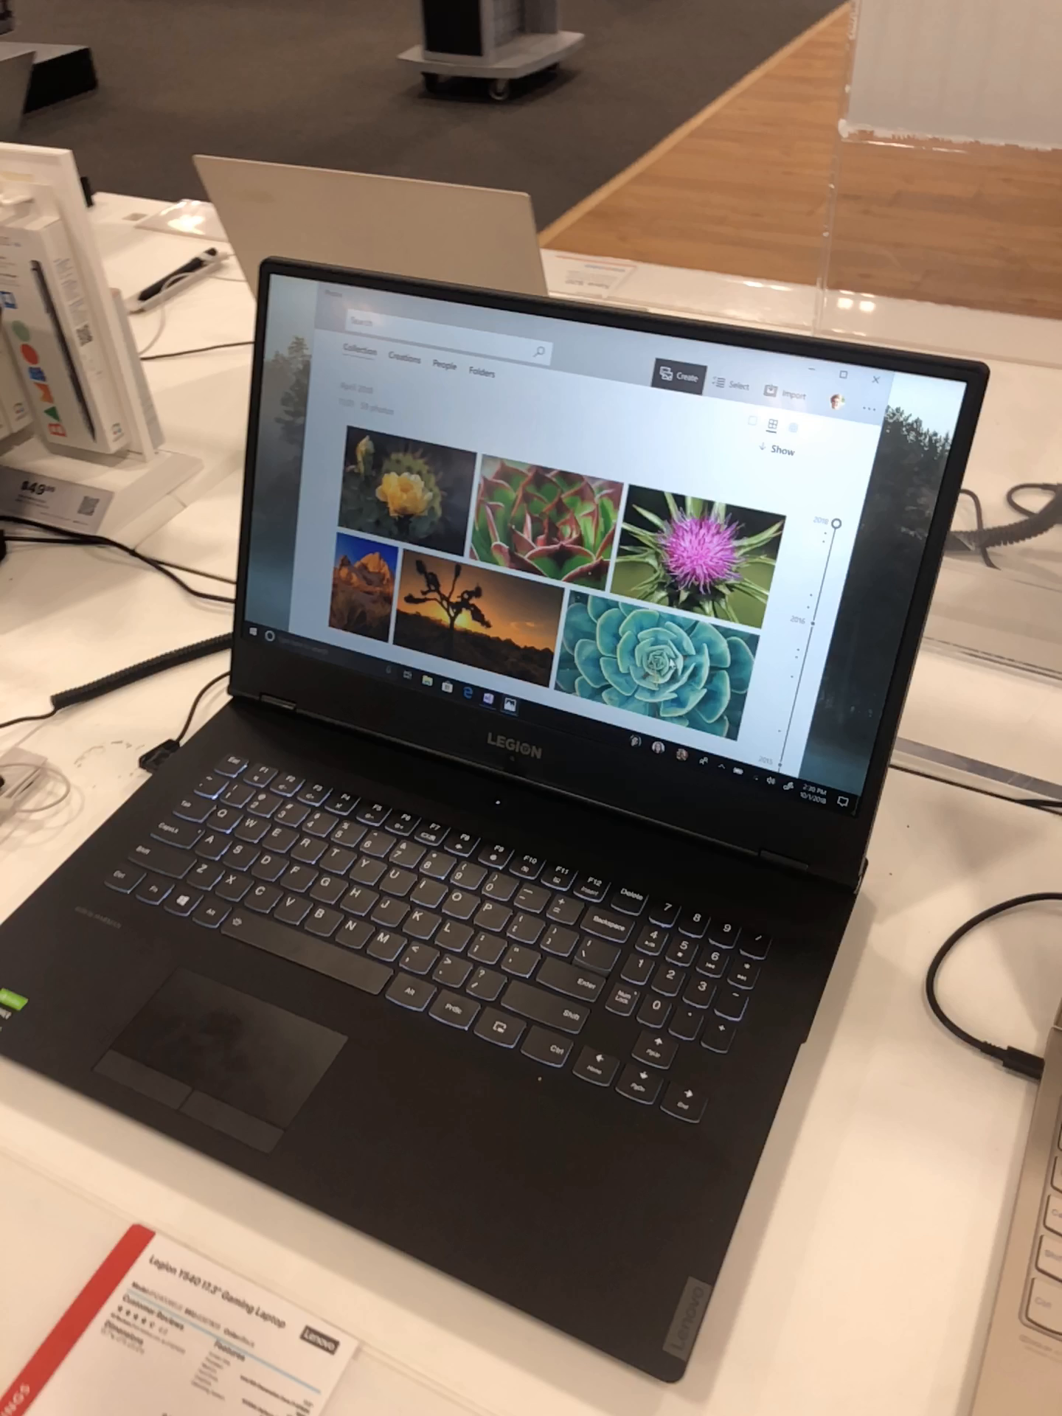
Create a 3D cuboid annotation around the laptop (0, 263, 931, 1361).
[{"bbox_3d":[-0.058,-0.003,0.555,0.382,0.241,0.359,16,43,20],"label":"laptop"}]
